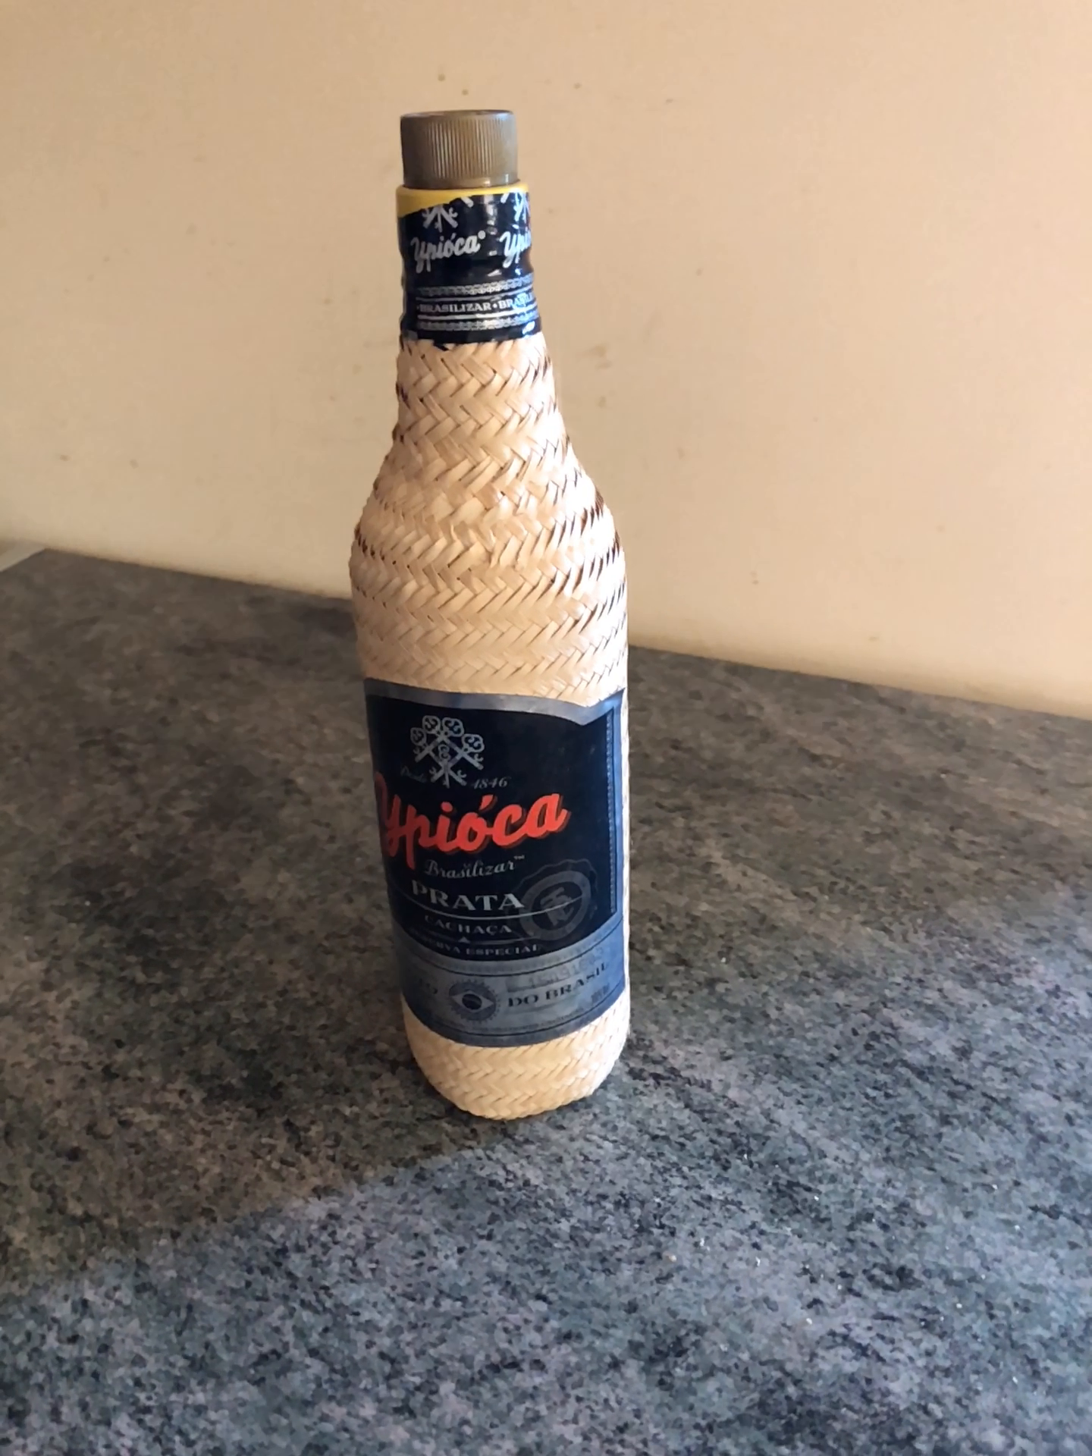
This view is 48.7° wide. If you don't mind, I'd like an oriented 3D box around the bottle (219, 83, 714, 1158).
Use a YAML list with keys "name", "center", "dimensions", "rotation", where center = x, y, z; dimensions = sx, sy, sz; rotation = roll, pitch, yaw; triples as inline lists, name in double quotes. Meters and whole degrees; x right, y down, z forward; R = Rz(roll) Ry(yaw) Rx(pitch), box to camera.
- name: "bottle"
  center: [-0.018, -0.022, 0.350]
  dimensions: [0.090, 0.288, 0.081]
  rotation: [12, 29, 19]
